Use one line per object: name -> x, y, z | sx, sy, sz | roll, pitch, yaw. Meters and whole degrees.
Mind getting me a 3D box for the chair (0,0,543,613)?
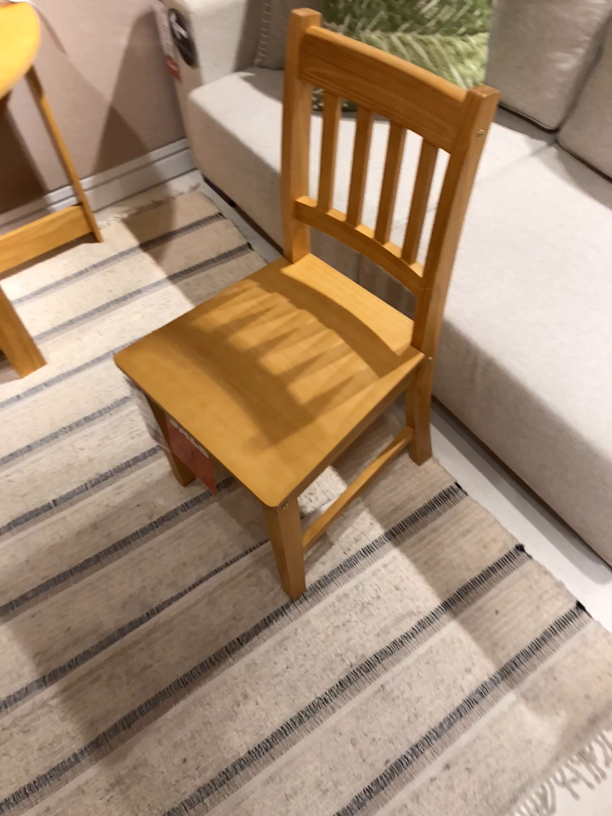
chair -> -0.028, -0.124, 1.174 | 0.521, 0.815, 0.462 | -39, 61, -22
